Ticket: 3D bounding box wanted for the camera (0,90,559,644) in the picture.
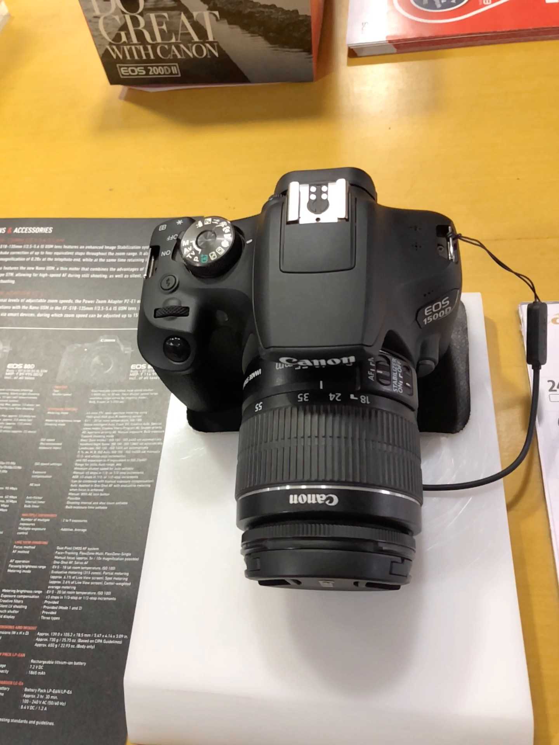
[{"bbox_3d":[0.003,0.001,0.198,0.140,0.090,0.141,-2,59,10],"label":"camera"}]
